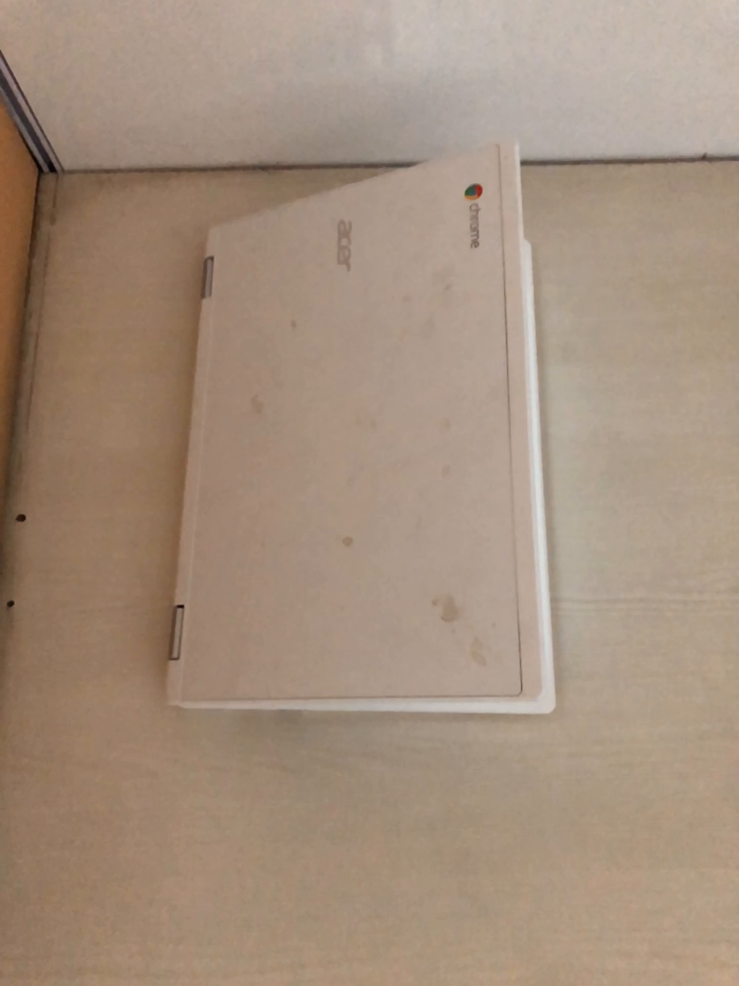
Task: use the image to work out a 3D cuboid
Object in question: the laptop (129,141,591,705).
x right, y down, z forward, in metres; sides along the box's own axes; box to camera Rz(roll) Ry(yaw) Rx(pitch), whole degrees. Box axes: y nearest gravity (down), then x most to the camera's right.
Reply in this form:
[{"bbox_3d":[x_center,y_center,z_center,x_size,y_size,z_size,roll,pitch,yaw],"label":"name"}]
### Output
[{"bbox_3d":[-0.002,-0.037,0.439,0.200,0.092,0.283,0,73,2],"label":"laptop"}]
